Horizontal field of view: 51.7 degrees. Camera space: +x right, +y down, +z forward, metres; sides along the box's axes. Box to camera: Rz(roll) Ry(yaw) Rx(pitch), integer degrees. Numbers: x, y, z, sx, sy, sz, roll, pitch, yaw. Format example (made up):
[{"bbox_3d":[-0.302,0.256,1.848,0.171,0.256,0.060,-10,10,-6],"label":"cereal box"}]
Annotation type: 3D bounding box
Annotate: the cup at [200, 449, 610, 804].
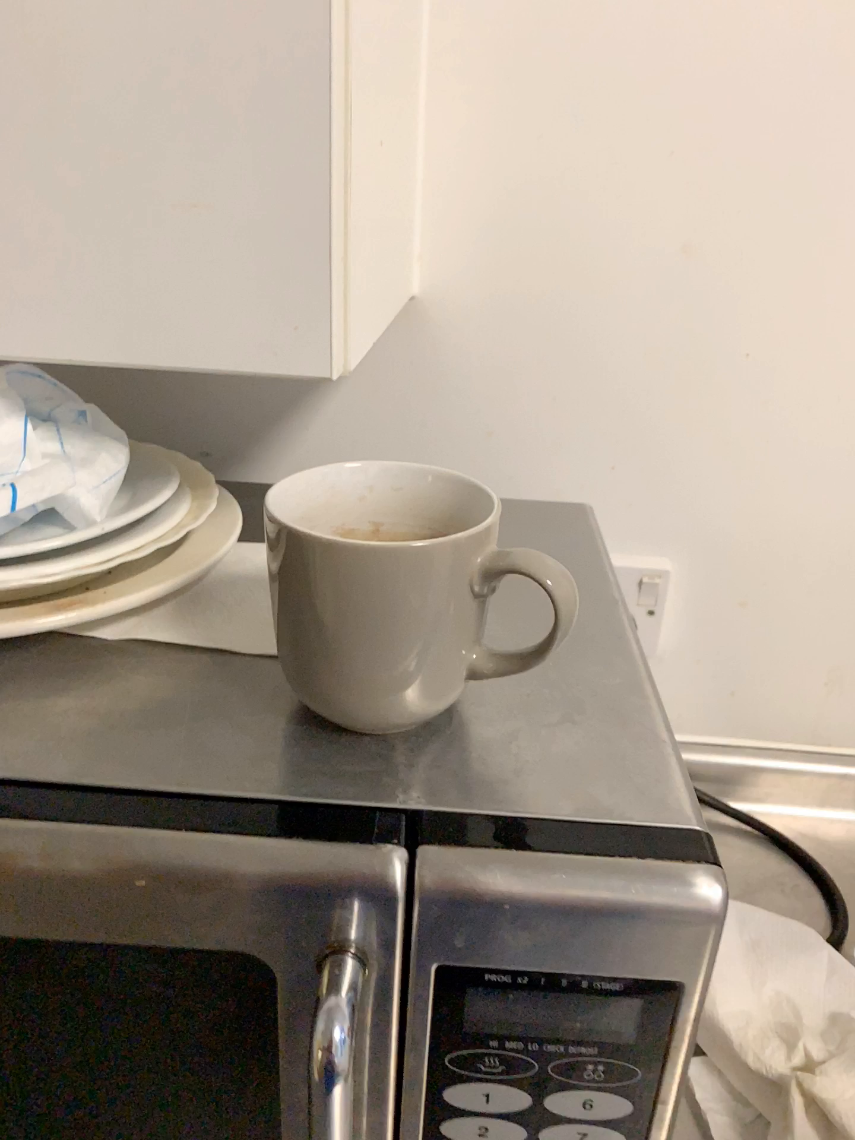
[{"bbox_3d":[-0.004,0.012,0.342,0.124,0.079,0.102,10,25,18],"label":"cup"}]
